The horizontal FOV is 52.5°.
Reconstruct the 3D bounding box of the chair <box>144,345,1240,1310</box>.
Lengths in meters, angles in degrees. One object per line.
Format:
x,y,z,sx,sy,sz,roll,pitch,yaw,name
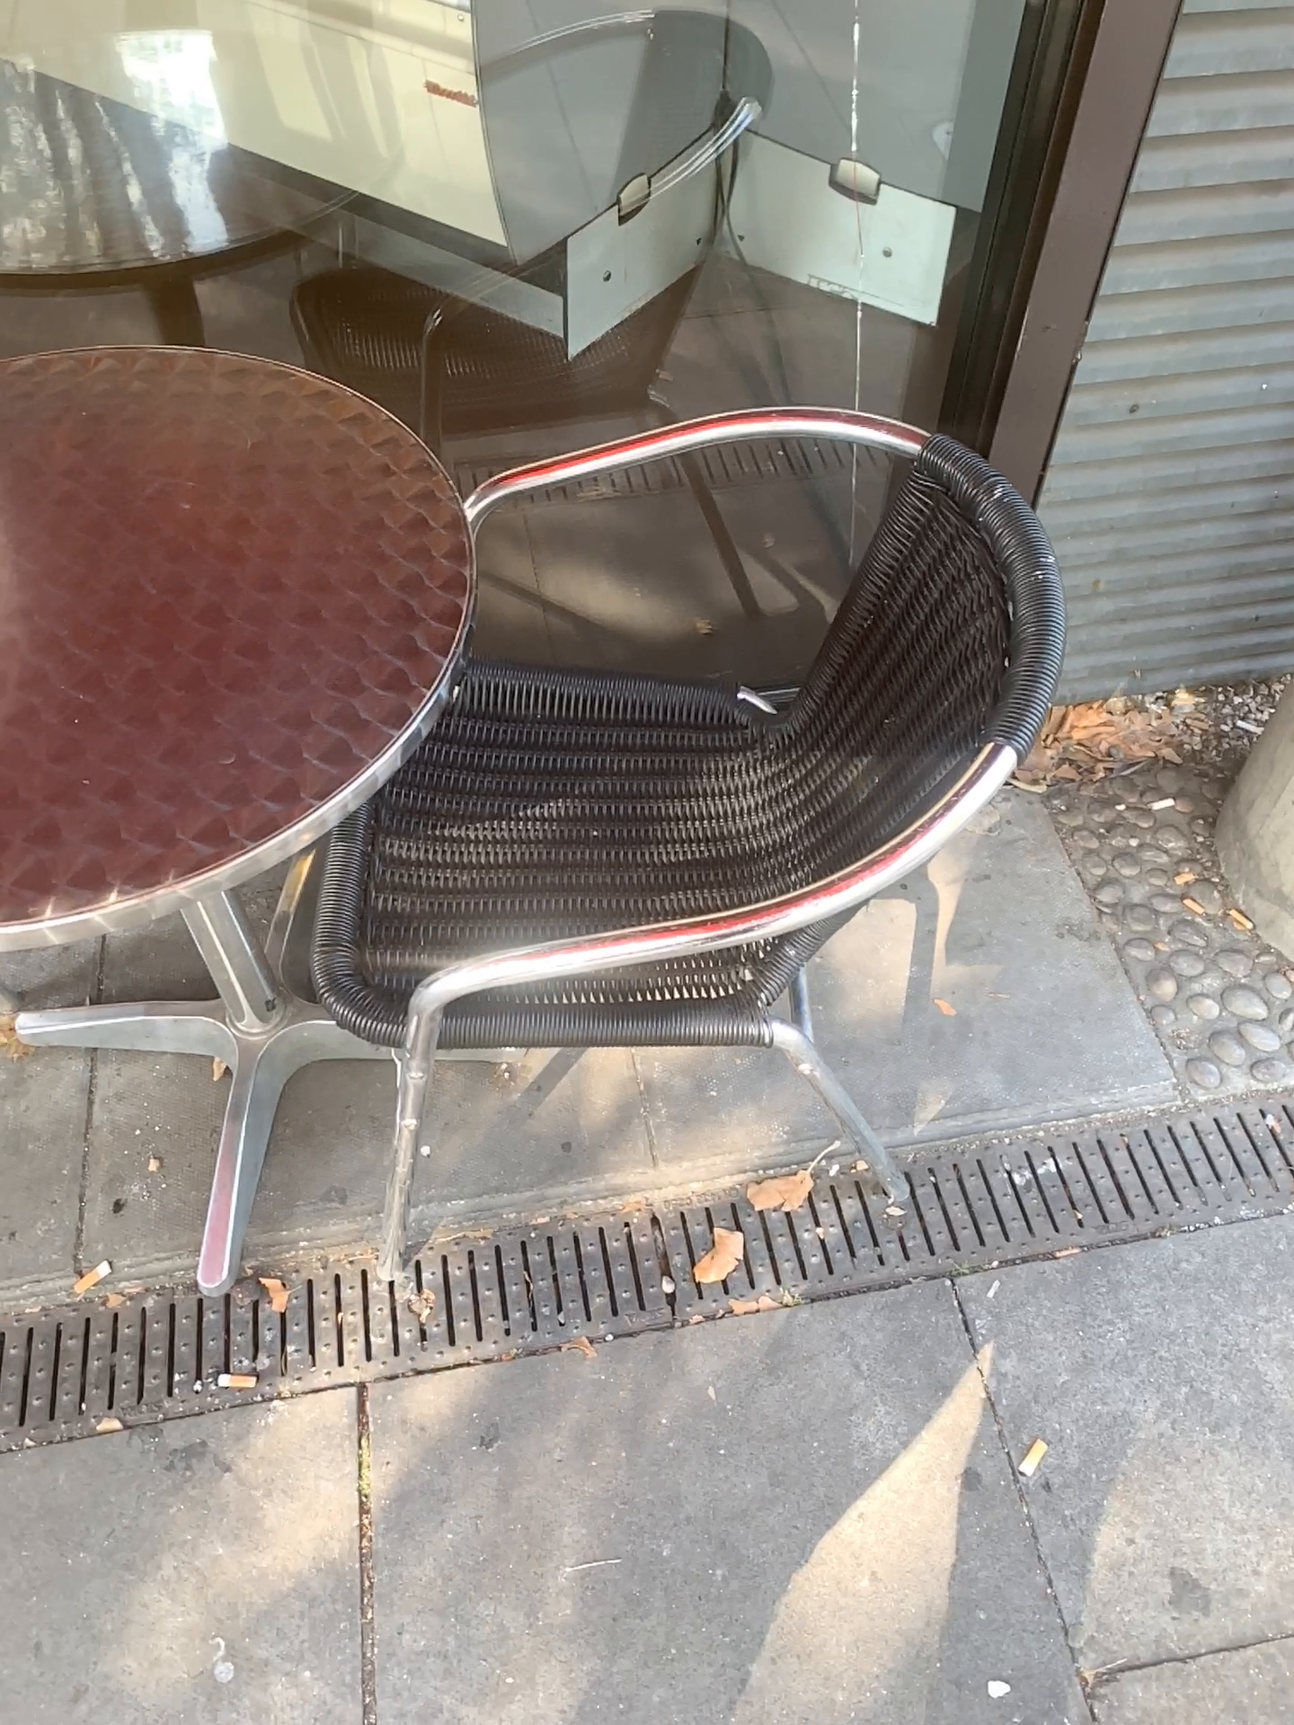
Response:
0.013,-0.018,1.190,0.640,0.605,0.605,-2,52,-2,chair
